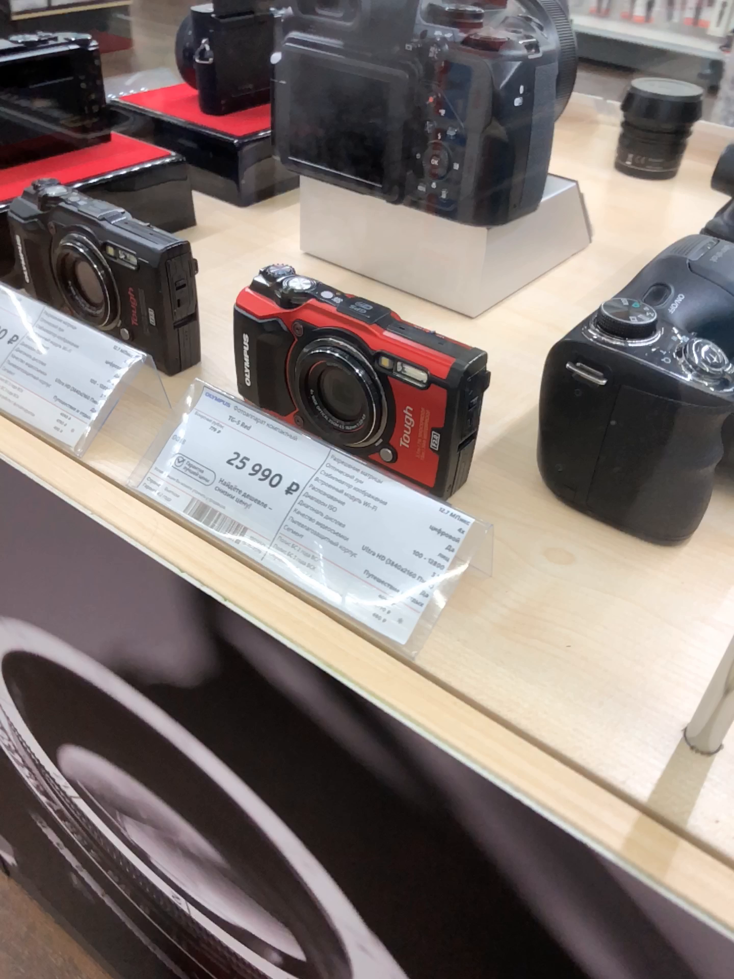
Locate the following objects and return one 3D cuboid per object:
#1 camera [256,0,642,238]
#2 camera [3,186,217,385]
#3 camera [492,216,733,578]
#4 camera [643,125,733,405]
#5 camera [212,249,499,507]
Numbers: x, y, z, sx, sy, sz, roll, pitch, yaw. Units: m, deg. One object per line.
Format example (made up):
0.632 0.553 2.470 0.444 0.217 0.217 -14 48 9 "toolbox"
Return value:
0.040 -0.212 0.430 0.147 0.086 0.127 28 45 27 "camera"
-0.131 -0.106 0.414 0.117 0.061 0.030 28 44 27 "camera"
0.127 -0.045 0.329 0.094 0.078 0.117 28 44 27 "camera"
0.246 -0.135 0.459 0.102 0.086 0.159 27 44 27 "camera"
-0.009 -0.049 0.335 0.119 0.061 0.030 28 44 27 "camera"
